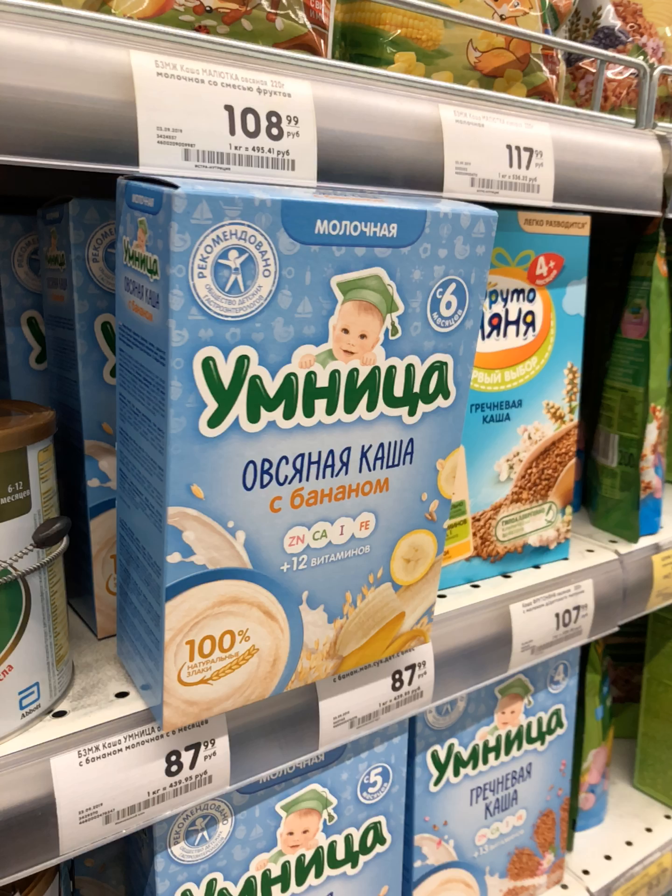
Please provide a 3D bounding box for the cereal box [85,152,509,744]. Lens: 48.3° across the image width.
[{"bbox_3d":[-0.017,-0.005,0.315,0.150,0.209,0.060,-9,23,-33],"label":"cereal box"}]
